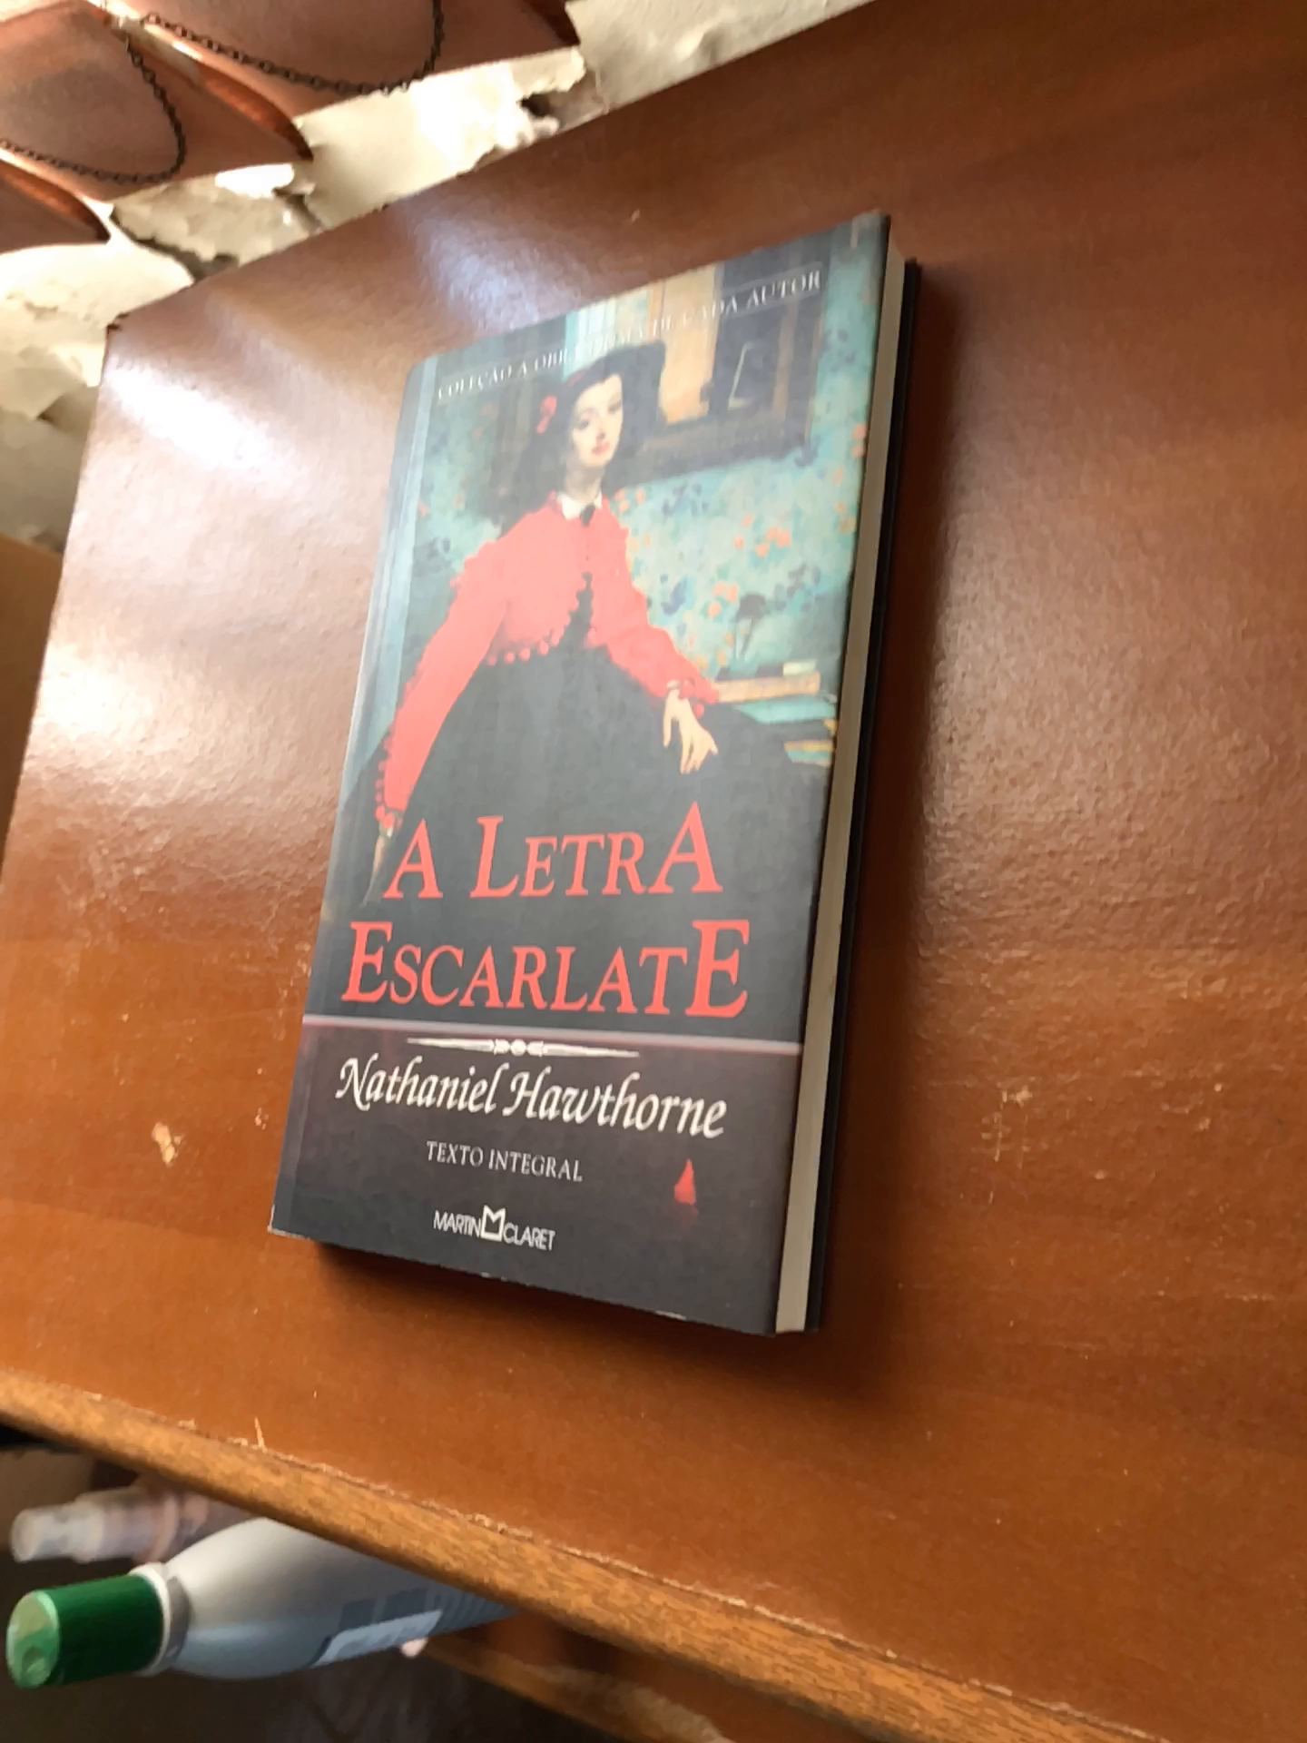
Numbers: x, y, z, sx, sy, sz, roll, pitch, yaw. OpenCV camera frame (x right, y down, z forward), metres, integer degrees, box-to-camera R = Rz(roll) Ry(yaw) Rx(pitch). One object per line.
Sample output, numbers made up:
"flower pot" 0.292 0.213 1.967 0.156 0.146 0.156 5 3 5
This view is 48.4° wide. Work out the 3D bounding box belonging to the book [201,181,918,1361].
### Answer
"book" -0.018 -0.018 0.236 0.112 0.015 0.166 -1 75 39
